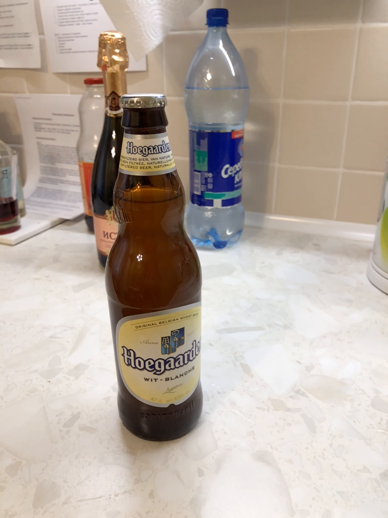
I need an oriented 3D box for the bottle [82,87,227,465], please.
[{"bbox_3d":[-0.027,0.014,0.305,0.070,0.248,0.080,-8,24,-16],"label":"bottle"}]
